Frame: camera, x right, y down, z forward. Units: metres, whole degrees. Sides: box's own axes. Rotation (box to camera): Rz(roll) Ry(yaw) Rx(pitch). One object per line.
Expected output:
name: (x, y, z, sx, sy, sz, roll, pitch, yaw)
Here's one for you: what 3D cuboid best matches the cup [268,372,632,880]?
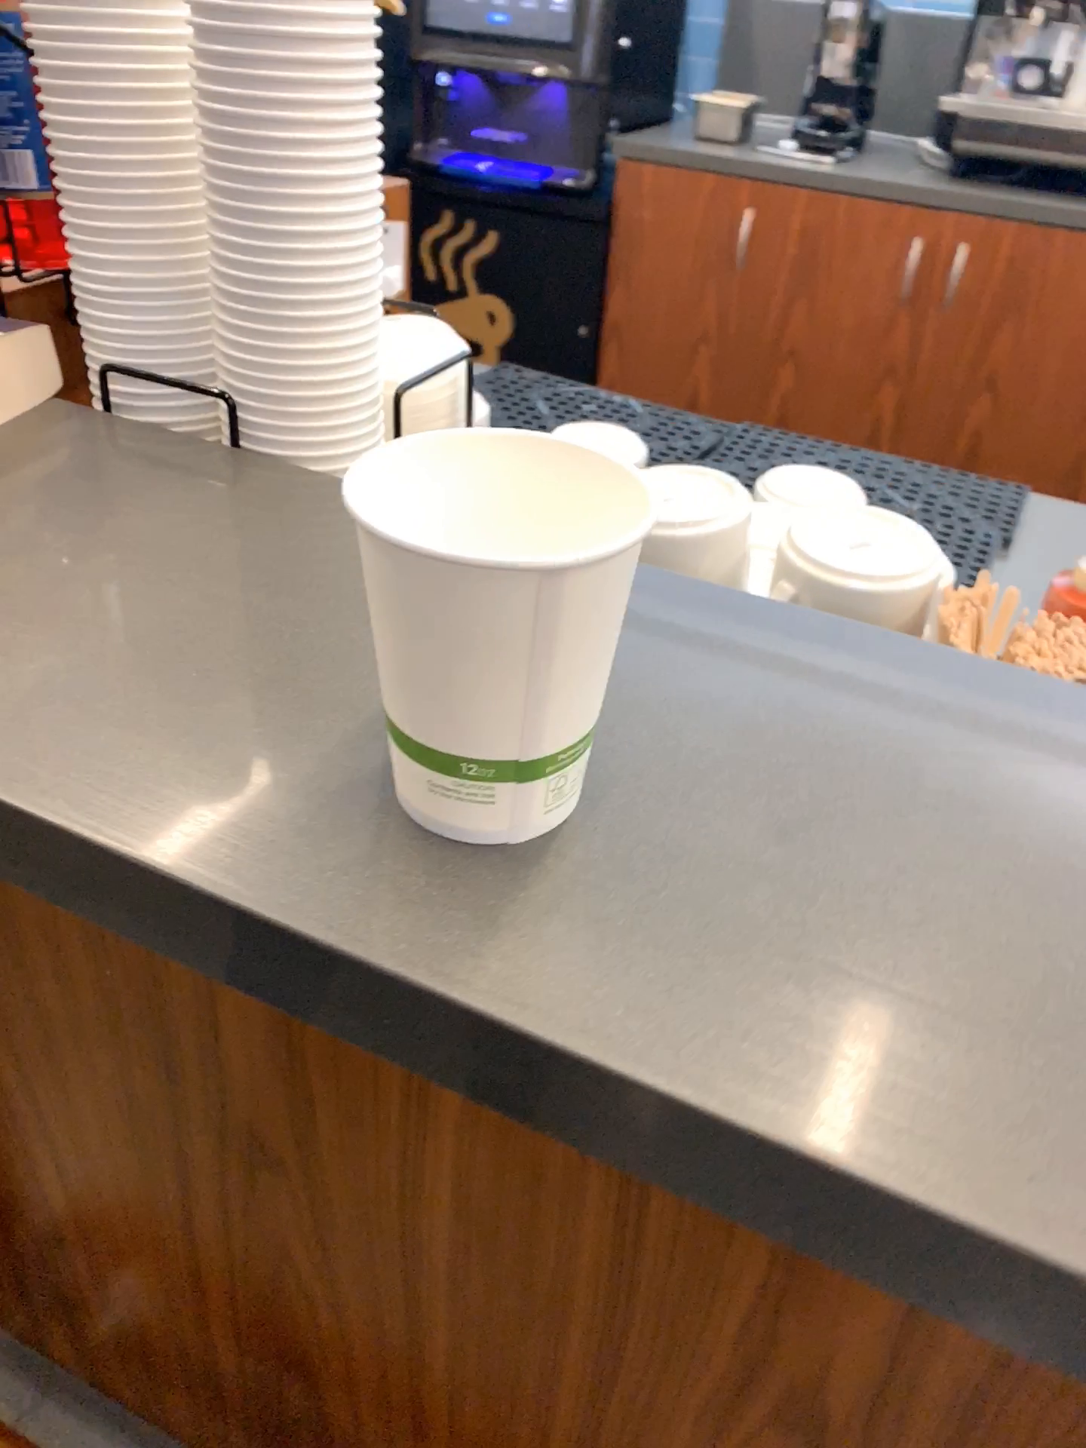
cup: (-0.026, -0.031, 0.347, 0.080, 0.119, 0.080, 3, 35, -2)
